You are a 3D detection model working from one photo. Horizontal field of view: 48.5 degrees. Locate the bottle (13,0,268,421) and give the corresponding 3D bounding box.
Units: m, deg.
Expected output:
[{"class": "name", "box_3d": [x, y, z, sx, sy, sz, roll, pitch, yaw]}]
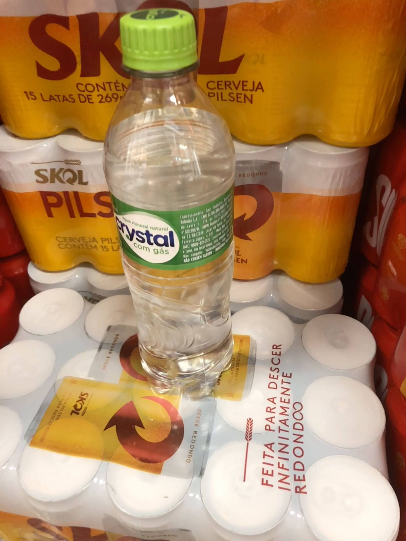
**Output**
[{"class": "bottle", "box_3d": [-0.013, -0.014, 0.238, 0.070, 0.218, 0.060, 18, 49, 23]}]
